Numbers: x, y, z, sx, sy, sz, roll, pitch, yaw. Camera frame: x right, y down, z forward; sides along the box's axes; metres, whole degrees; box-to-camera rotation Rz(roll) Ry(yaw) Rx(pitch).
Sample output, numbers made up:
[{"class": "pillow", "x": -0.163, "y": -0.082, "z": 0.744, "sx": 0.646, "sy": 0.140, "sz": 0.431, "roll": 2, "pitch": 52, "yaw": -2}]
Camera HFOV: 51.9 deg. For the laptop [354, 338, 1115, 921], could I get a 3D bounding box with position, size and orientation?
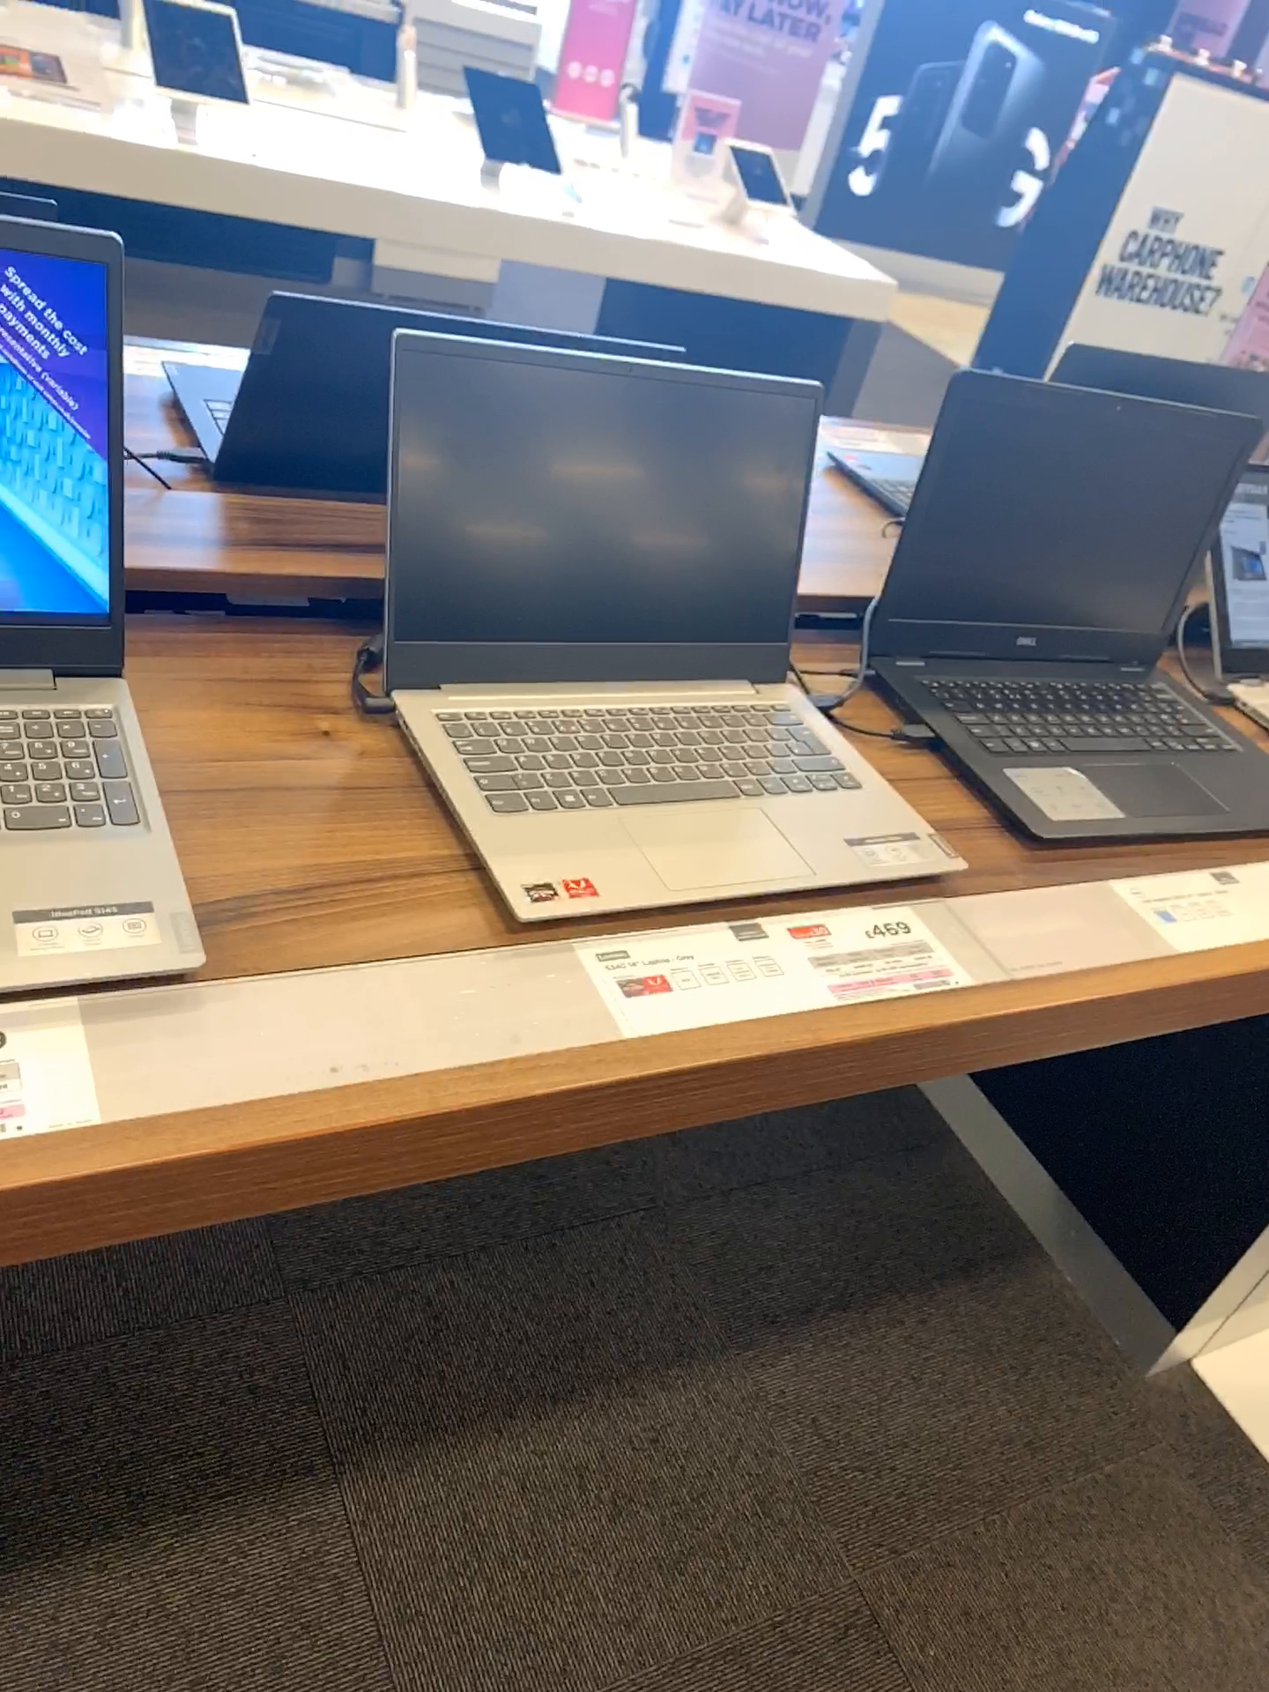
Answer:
[{"class": "laptop", "x": 0.039, "y": -0.139, "z": 0.799, "sx": 0.316, "sy": 0.199, "sz": 0.296, "roll": -4, "pitch": 40, "yaw": -29}]
